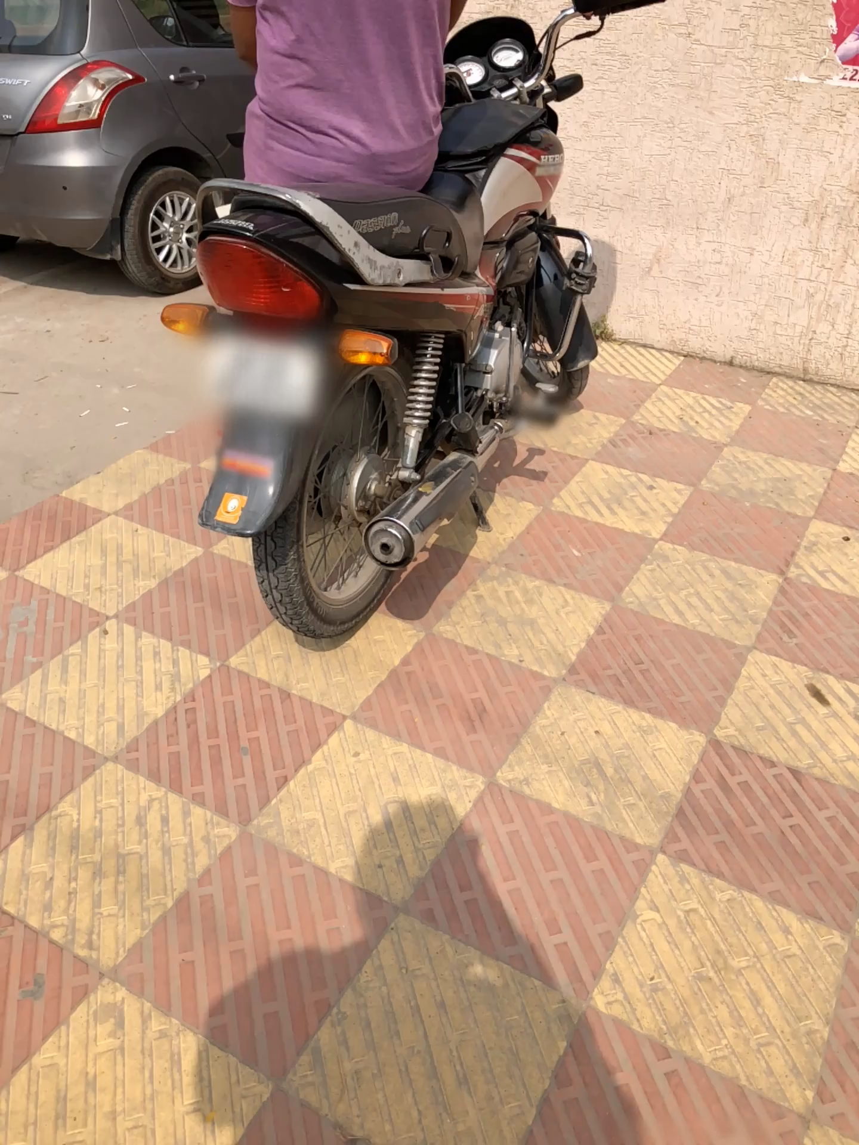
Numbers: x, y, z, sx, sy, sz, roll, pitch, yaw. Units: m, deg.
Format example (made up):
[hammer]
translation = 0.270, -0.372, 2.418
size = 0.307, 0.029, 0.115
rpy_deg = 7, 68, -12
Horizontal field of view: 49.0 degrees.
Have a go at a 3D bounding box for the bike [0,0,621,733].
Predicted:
[bike]
translation = -0.114, -0.725, 2.213
size = 0.891, 1.066, 1.734
rpy_deg = 9, 35, 11
